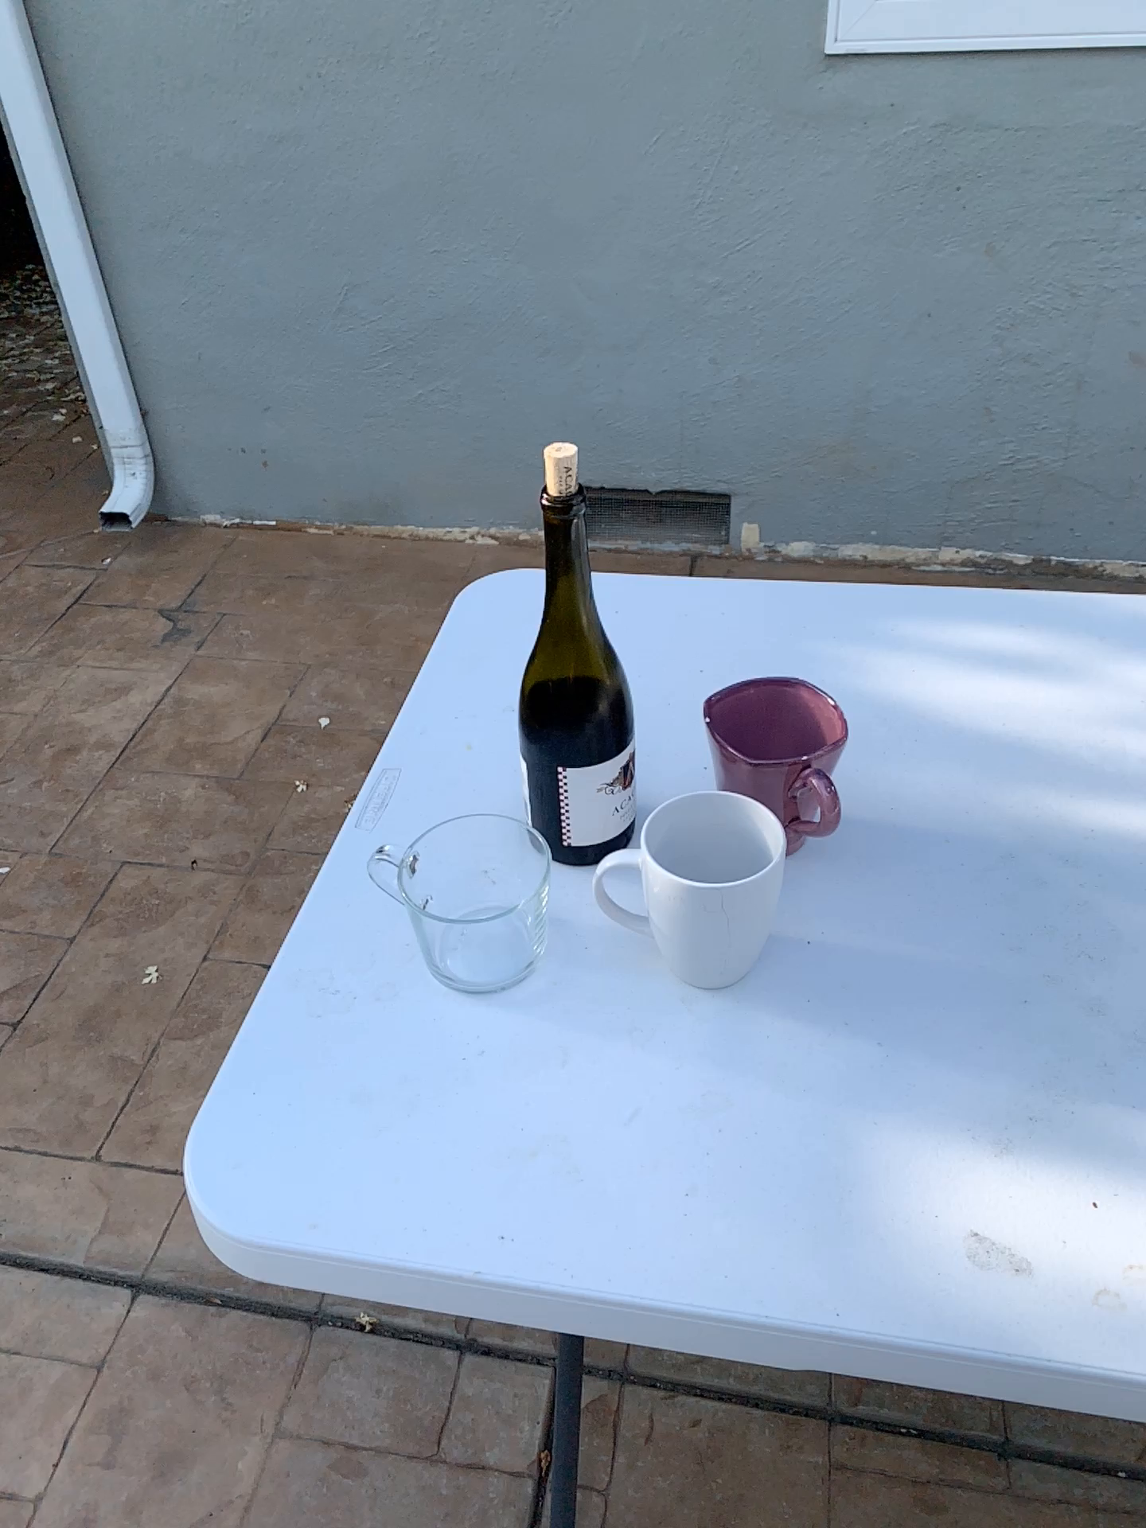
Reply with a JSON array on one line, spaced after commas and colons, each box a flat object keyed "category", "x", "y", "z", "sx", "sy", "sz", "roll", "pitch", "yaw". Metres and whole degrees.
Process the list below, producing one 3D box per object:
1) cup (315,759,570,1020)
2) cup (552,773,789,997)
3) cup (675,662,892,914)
[{"category": "cup", "x": -0.087, "y": 0.081, "z": 0.791, "sx": 0.141, "sy": 0.089, "sz": 0.090, "roll": 27, "pitch": 47, "yaw": 33}, {"category": "cup", "x": 0.065, "y": 0.077, "z": 0.758, "sx": 0.140, "sy": 0.099, "sz": 0.090, "roll": 3, "pitch": 39, "yaw": 8}, {"category": "cup", "x": 0.146, "y": 0.014, "z": 0.848, "sx": 0.100, "sy": 0.099, "sz": 0.141, "roll": -12, "pitch": 39, "yaw": -11}]
